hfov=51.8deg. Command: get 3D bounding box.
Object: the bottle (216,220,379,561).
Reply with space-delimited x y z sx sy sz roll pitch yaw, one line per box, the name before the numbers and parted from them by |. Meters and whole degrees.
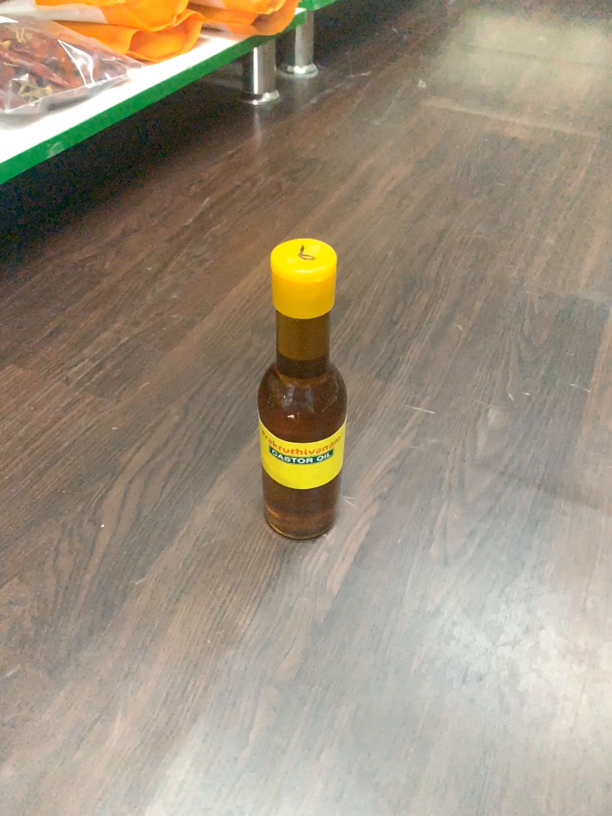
bottle | -0.002 0.001 0.316 0.060 0.169 0.060 1 44 -1
